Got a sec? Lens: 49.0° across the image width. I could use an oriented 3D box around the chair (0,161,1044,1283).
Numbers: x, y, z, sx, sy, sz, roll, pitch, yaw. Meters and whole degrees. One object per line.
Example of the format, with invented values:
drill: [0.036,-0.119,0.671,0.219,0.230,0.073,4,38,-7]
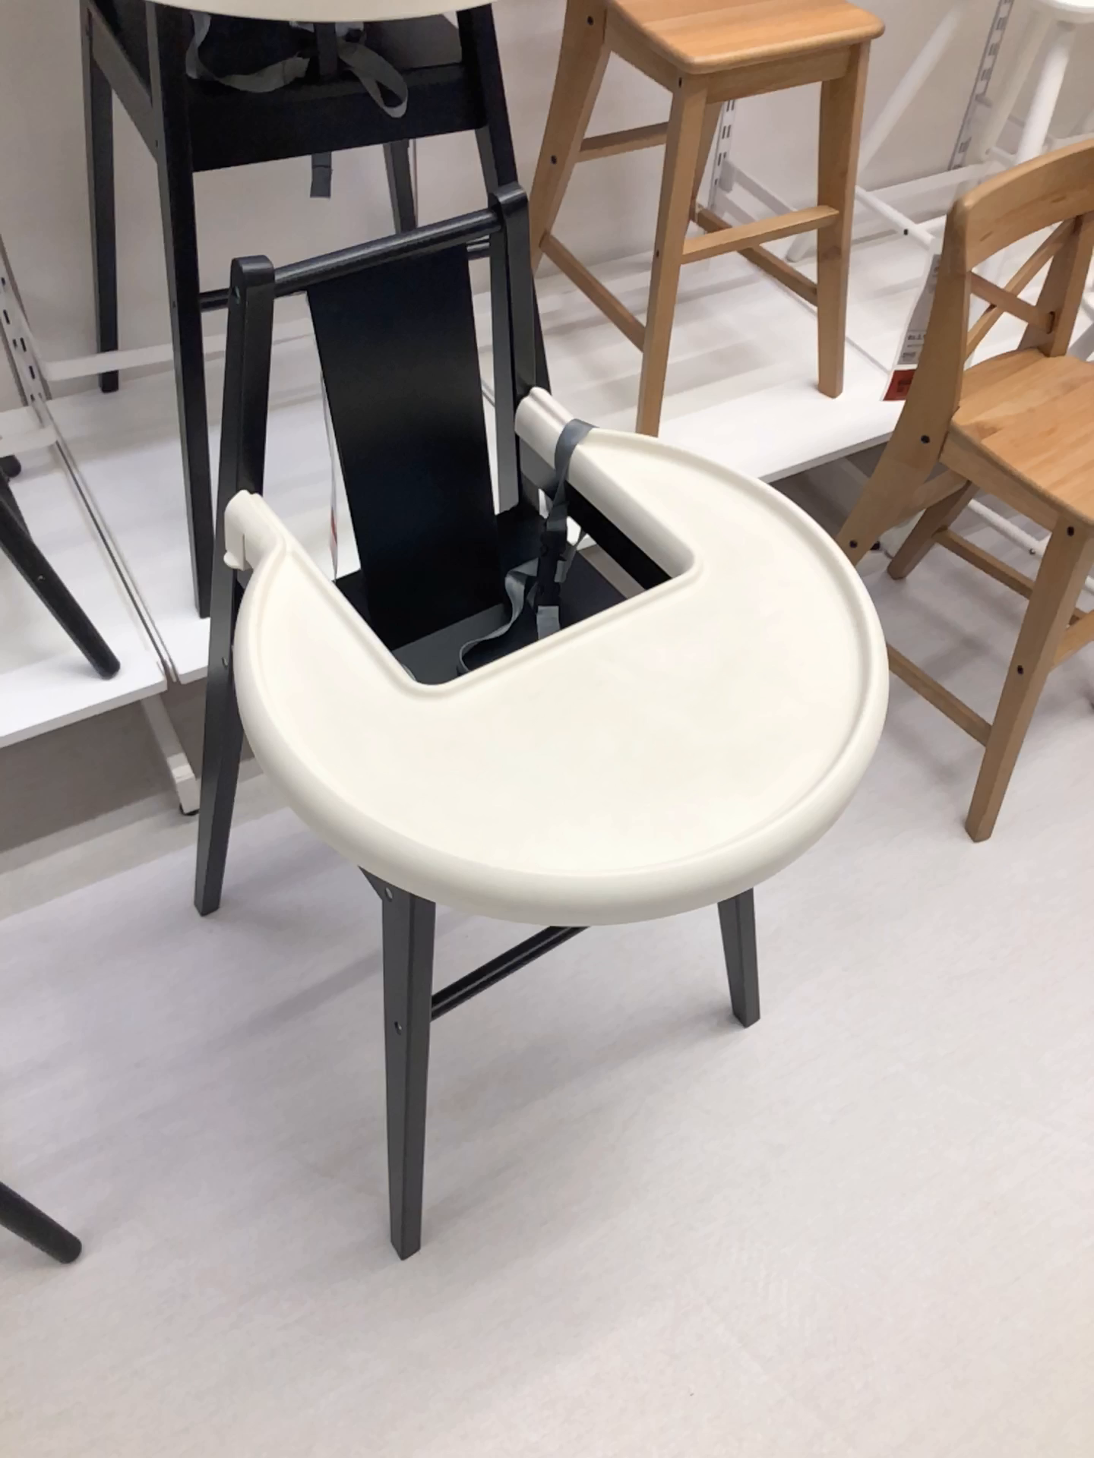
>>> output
chair: [-0.058,0.014,1.157,0.551,0.775,0.552,-25,56,-23]
